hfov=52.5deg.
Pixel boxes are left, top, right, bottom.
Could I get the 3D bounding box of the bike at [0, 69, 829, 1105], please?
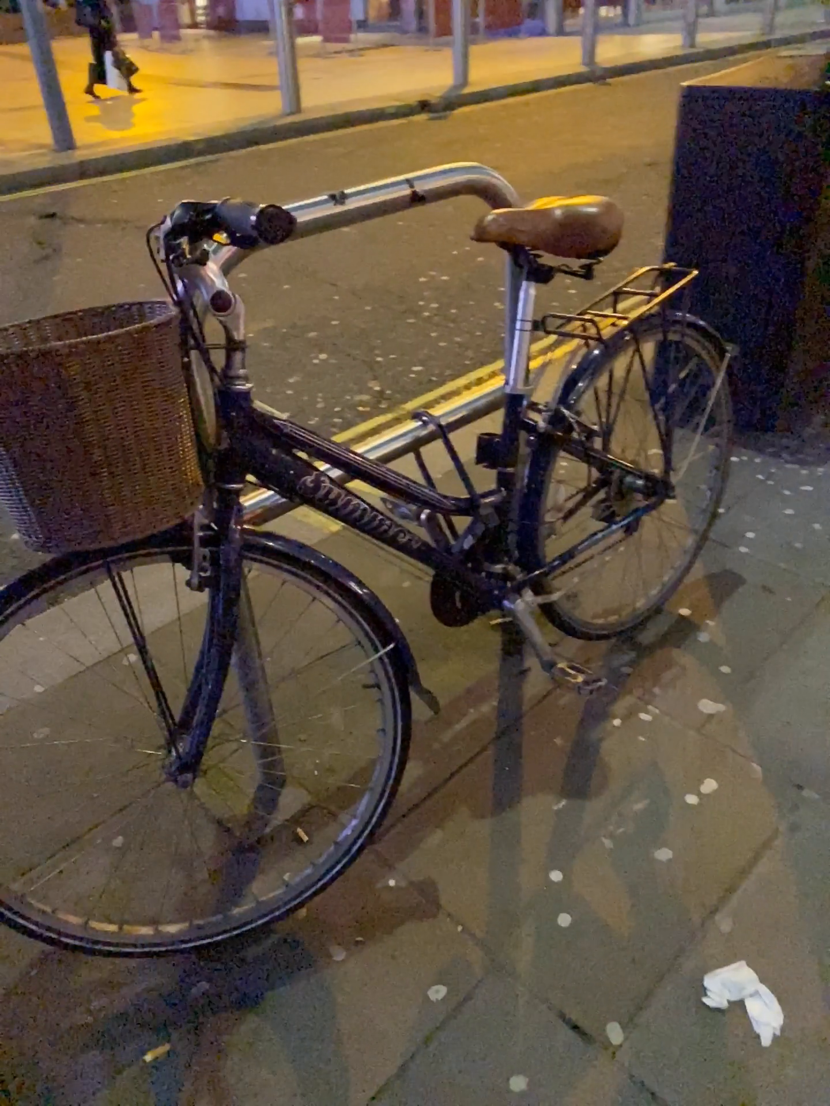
[{"bbox_3d":[0.013,-0.112,1.485,1.714,1.063,0.662,-27,40,-28],"label":"bike"}]
